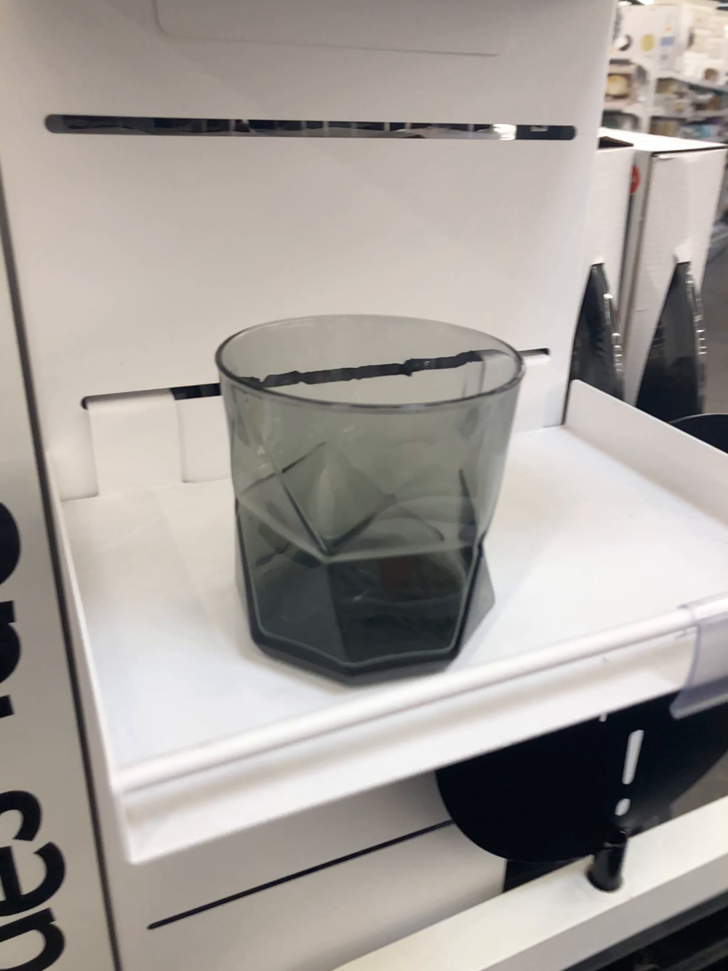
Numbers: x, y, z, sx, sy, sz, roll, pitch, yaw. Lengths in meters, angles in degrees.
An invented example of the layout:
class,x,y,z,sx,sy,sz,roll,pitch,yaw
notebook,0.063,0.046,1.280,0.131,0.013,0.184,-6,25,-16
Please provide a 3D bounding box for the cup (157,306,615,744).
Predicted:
class,x,y,z,sx,sy,sz,roll,pitch,yaw
cup,0.005,0.001,0.242,0.088,0.080,0.094,2,25,-1
